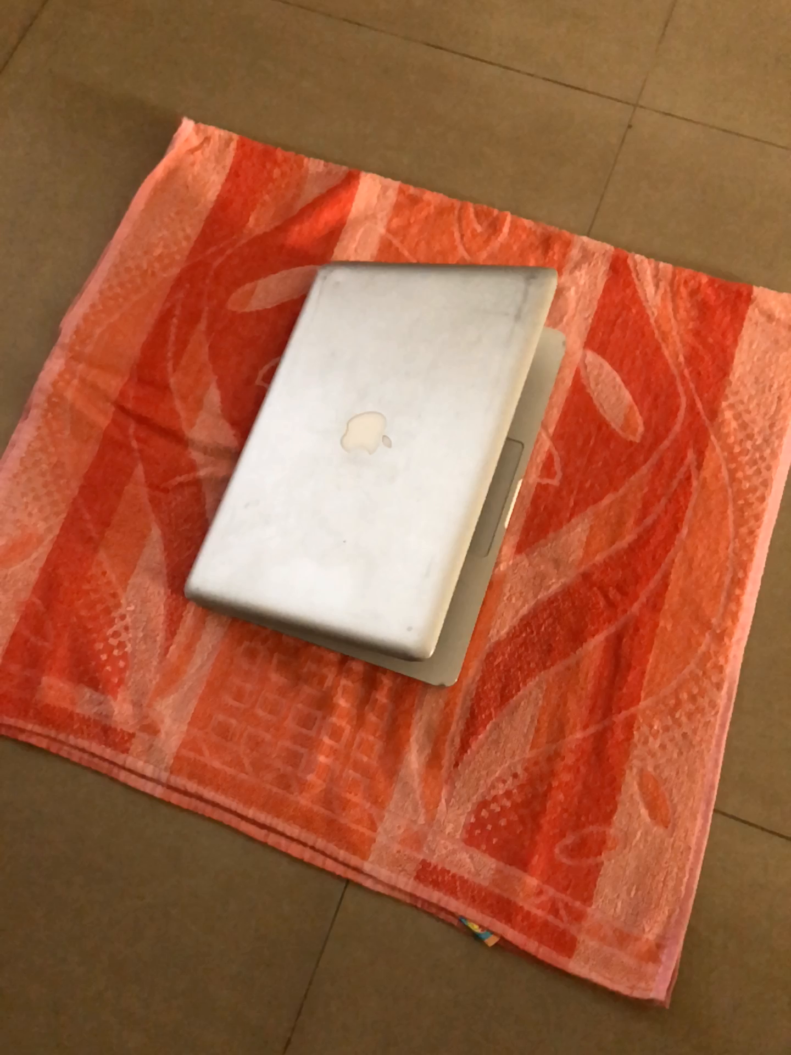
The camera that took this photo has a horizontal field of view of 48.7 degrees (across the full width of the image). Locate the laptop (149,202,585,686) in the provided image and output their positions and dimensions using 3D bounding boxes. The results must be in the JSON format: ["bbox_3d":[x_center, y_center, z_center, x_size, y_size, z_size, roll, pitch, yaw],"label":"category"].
[{"bbox_3d":[-0.012,-0.069,0.668,0.222,0.087,0.311,18,73,8],"label":"laptop"}]
